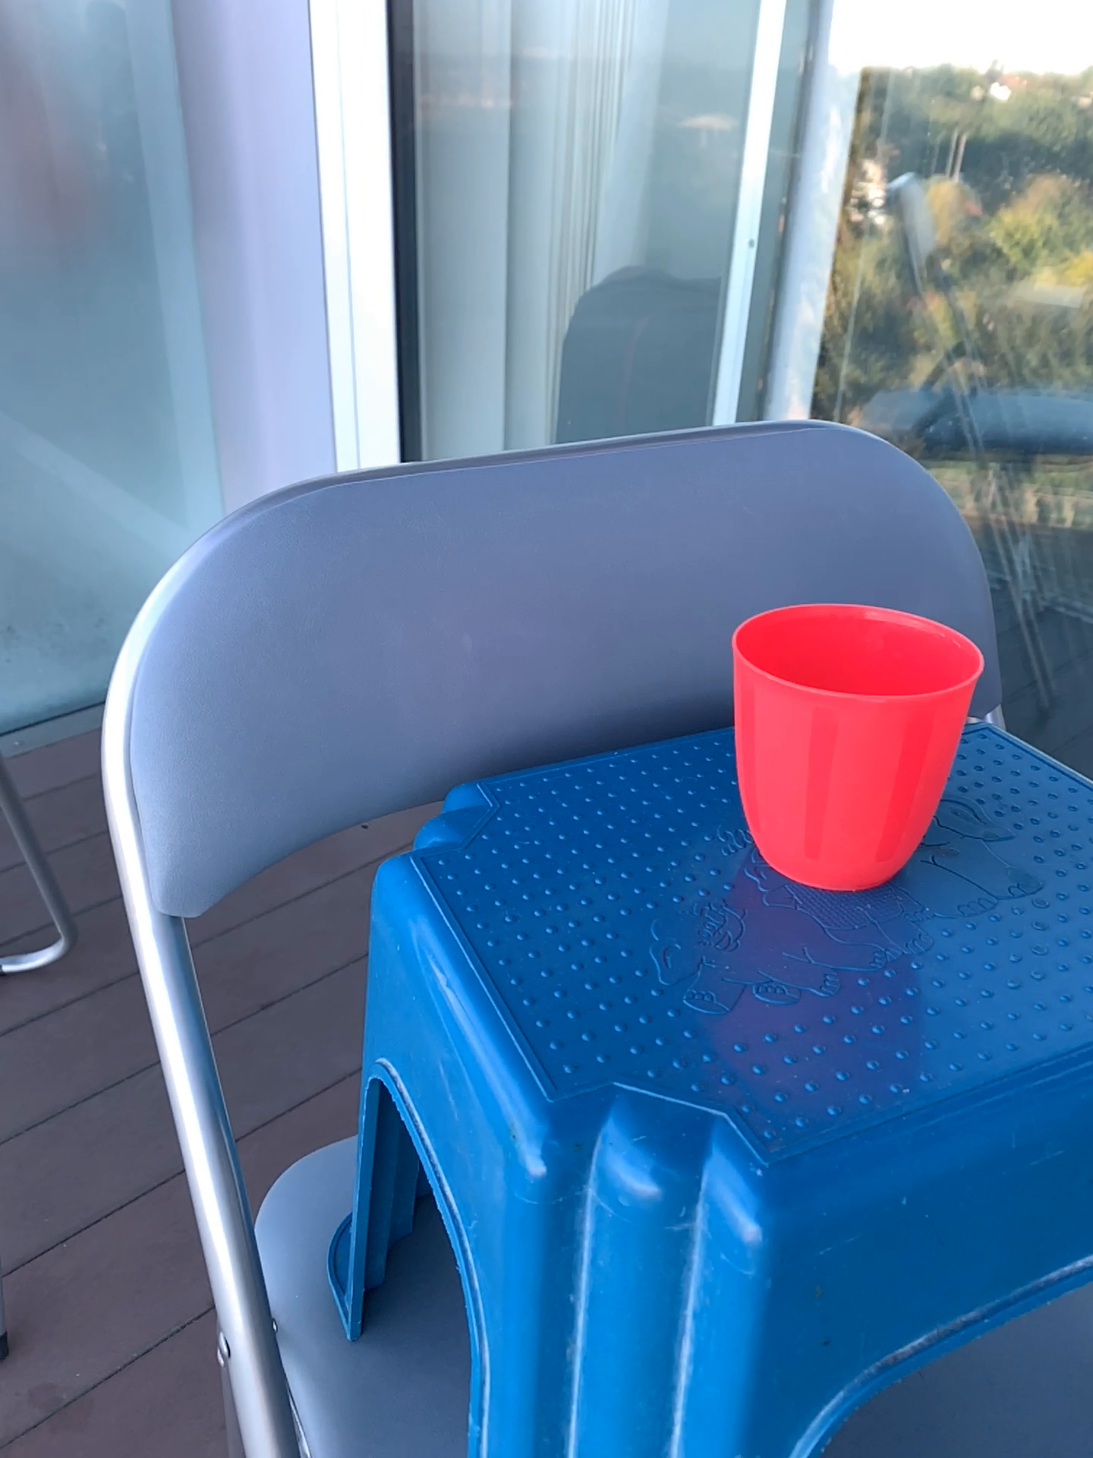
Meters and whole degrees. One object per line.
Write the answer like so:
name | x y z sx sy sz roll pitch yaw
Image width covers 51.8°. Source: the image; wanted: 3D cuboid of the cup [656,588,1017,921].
cup | 0.097 0.005 0.398 0.086 0.077 0.074 -10 33 -21
